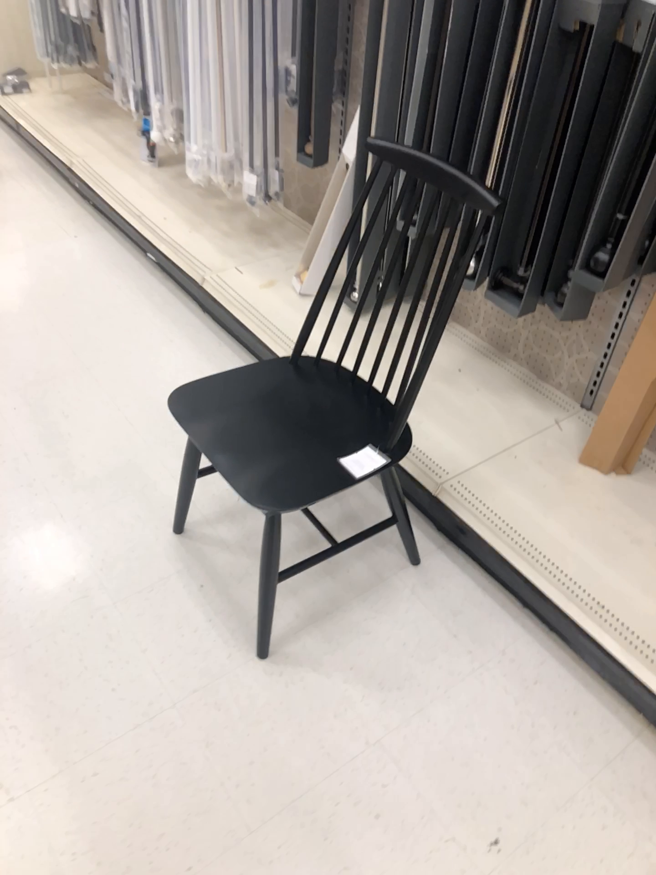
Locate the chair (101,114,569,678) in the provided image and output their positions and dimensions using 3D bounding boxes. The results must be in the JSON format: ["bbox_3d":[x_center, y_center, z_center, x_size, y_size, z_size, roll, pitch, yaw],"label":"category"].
[{"bbox_3d":[-0.018,-0.088,1.515,0.610,0.909,0.519,-22,47,-28],"label":"chair"}]
